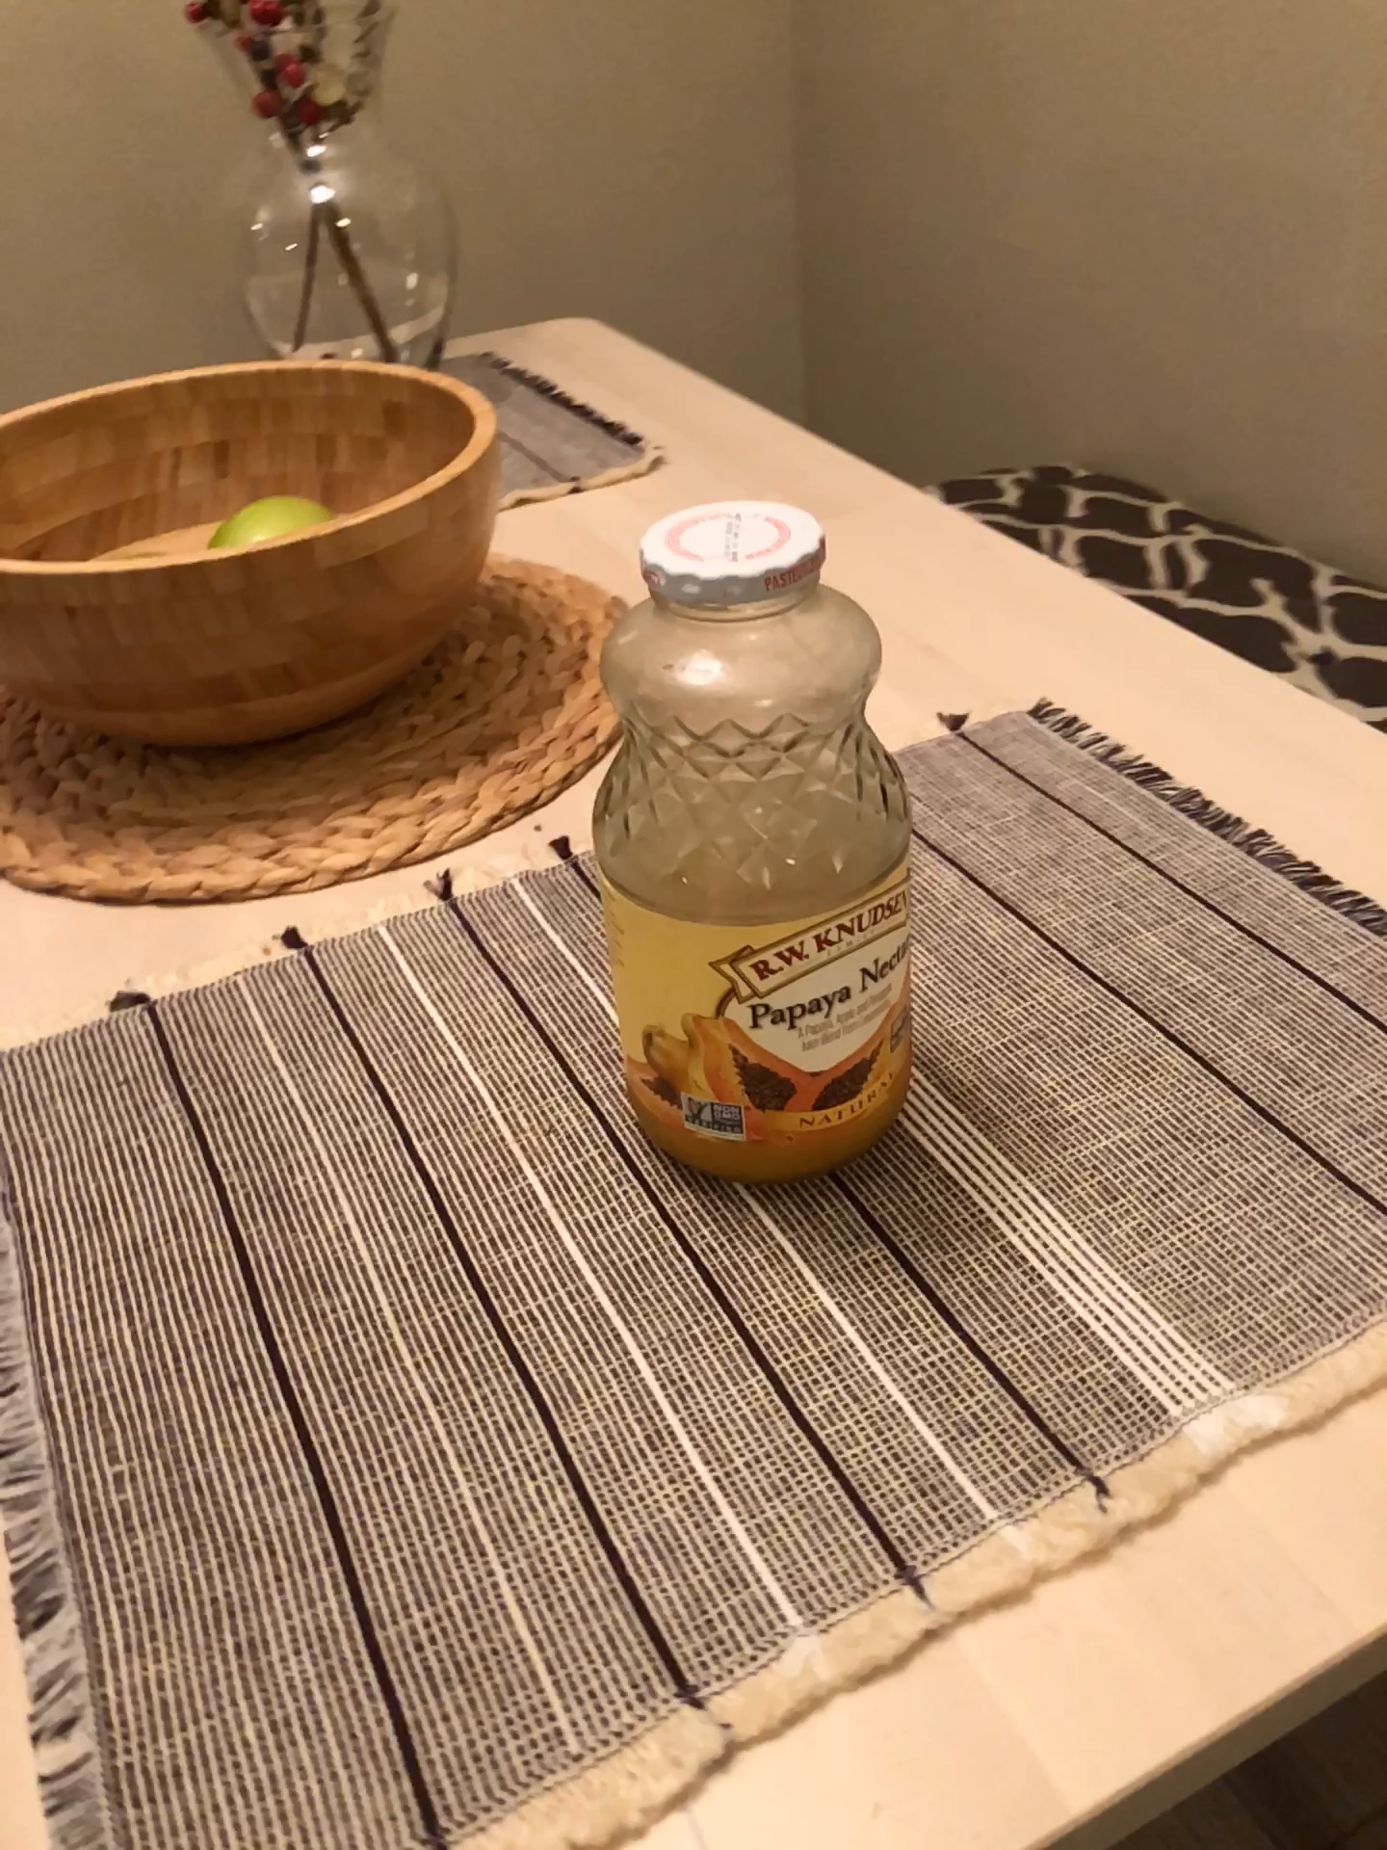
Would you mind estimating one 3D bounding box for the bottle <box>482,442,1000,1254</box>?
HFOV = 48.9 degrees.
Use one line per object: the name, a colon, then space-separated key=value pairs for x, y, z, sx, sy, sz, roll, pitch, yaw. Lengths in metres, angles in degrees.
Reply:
bottle: x=0.016 y=-0.023 z=0.458 sx=0.100 sy=0.199 sz=0.100 roll=-3 pitch=35 yaw=2
